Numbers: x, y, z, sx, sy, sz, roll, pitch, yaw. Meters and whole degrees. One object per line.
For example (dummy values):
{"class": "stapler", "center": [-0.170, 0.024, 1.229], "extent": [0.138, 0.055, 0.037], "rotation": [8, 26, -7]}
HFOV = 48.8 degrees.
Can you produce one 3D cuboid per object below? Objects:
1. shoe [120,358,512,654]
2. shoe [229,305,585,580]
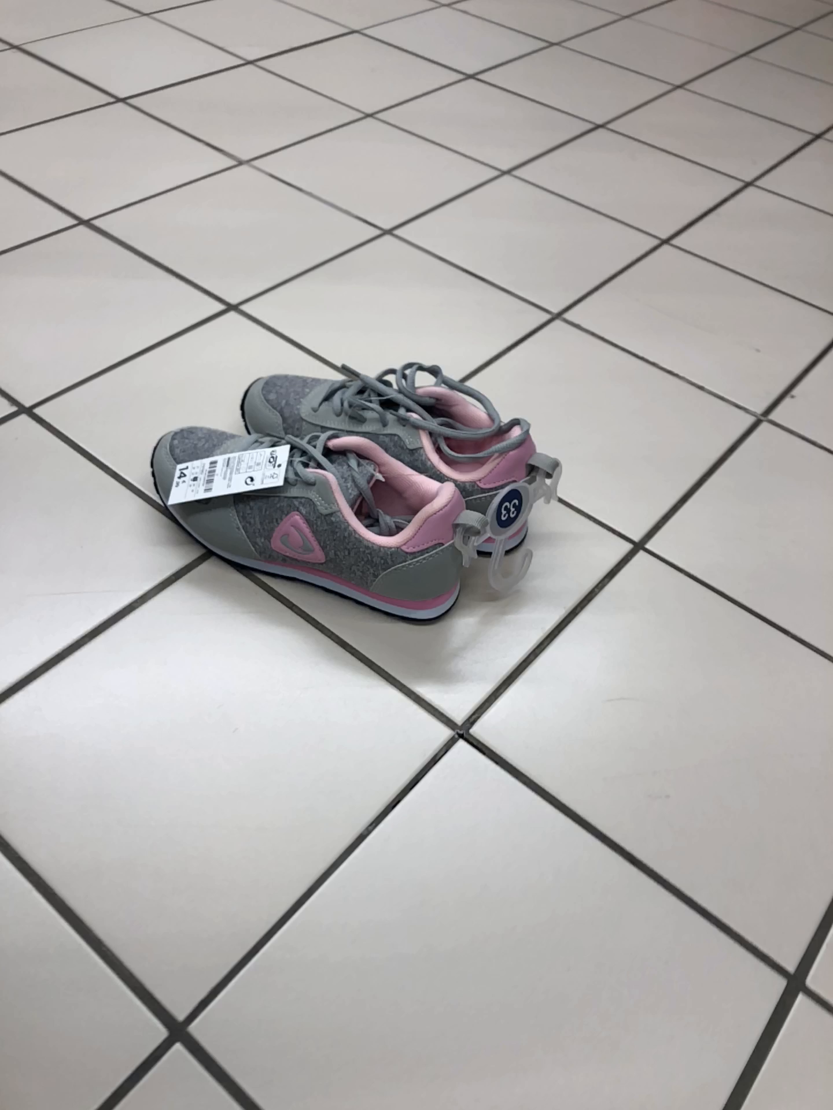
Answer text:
{"class": "shoe", "center": [-0.062, -0.034, 0.565], "extent": [0.214, 0.083, 0.082], "rotation": [21, 47, 13]}
{"class": "shoe", "center": [-0.010, -0.079, 0.615], "extent": [0.214, 0.083, 0.082], "rotation": [23, 48, 15]}
